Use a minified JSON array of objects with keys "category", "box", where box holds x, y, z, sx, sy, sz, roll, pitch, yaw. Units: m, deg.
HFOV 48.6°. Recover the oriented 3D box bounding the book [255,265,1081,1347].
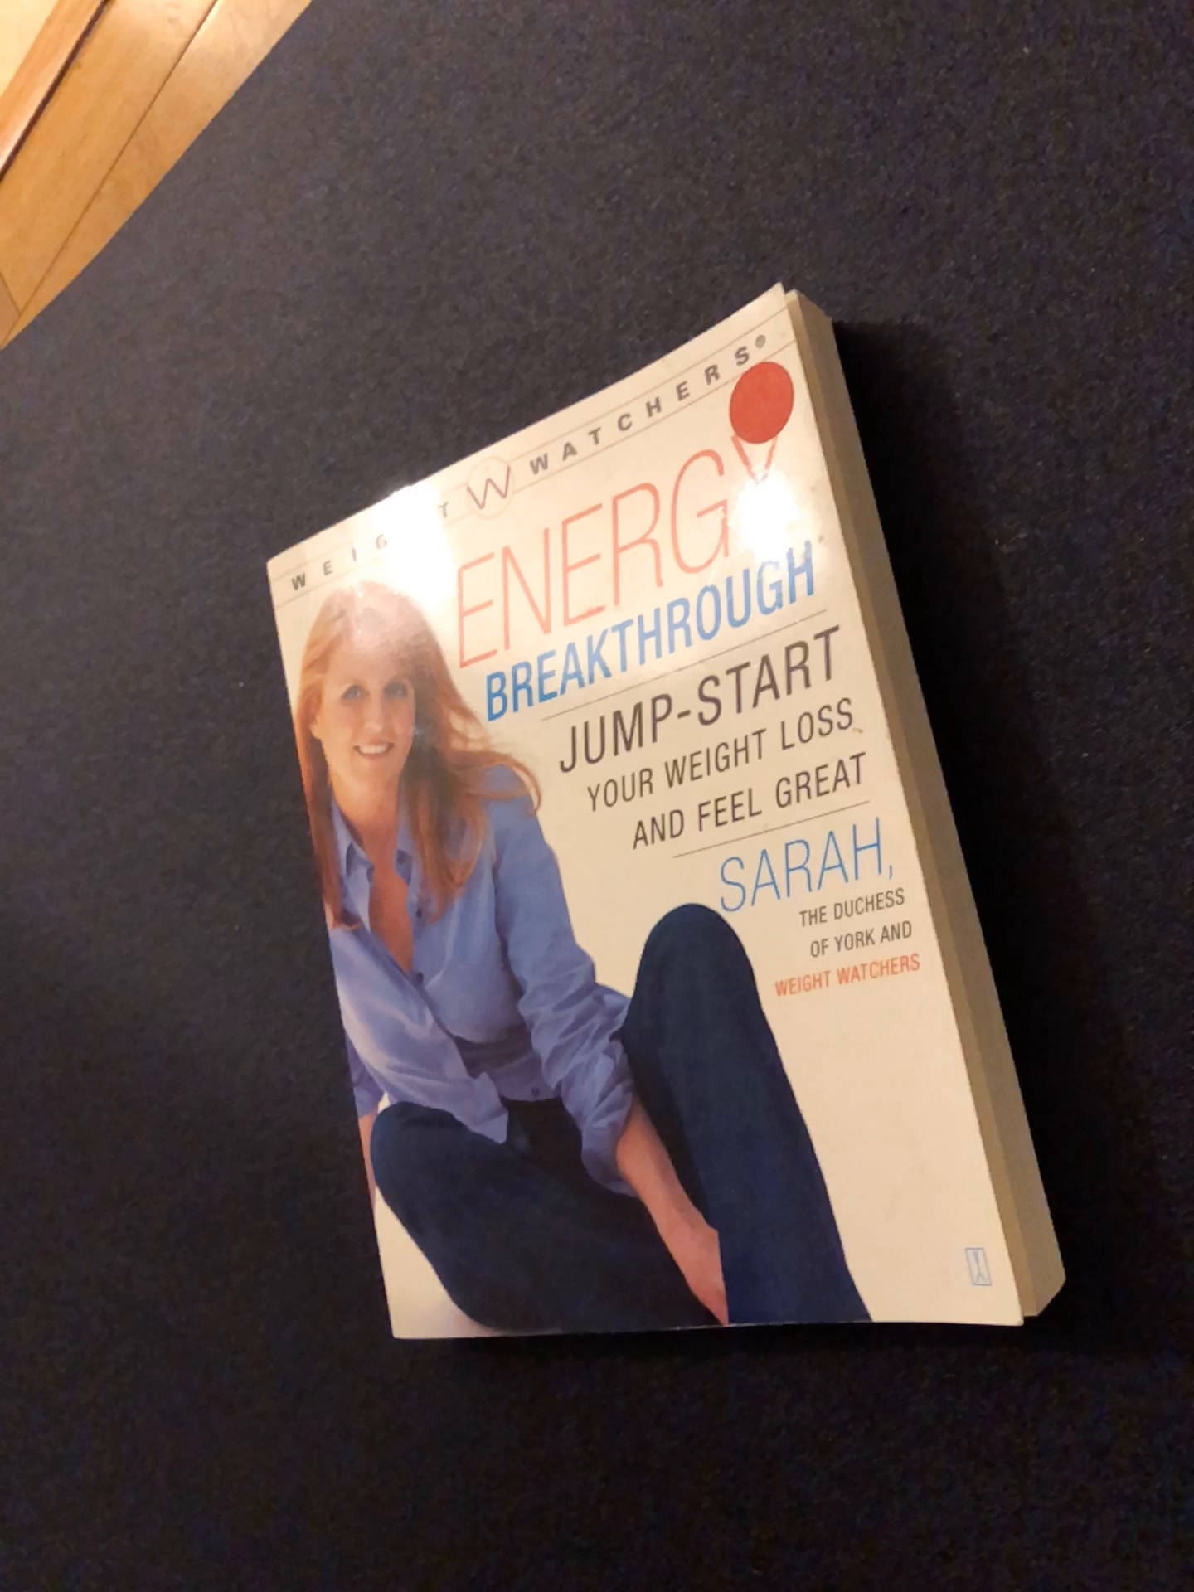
[{"category":"book","box":[0.000,0.015,0.344,0.186,0.030,0.234,-17,78,33]}]
